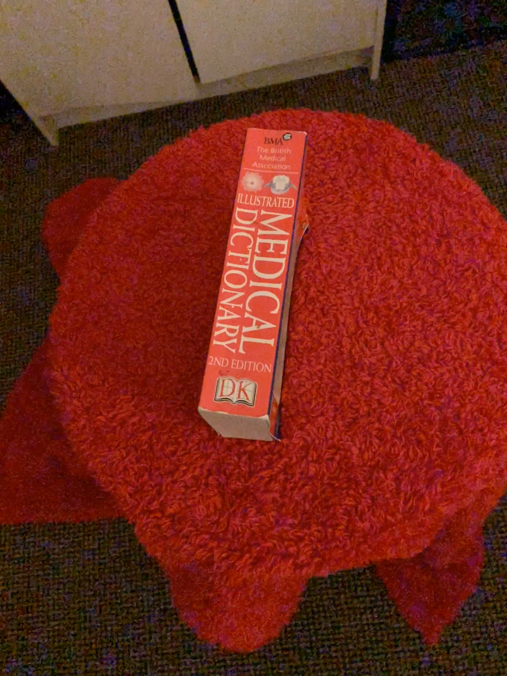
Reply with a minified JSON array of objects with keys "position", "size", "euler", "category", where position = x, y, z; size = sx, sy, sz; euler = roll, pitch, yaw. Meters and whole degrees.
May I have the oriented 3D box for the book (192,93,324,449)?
[{"position":[0.010,-0.040,0.381],"size":[0.050,0.130,0.221],"euler":[7,73,5],"category":"book"}]
